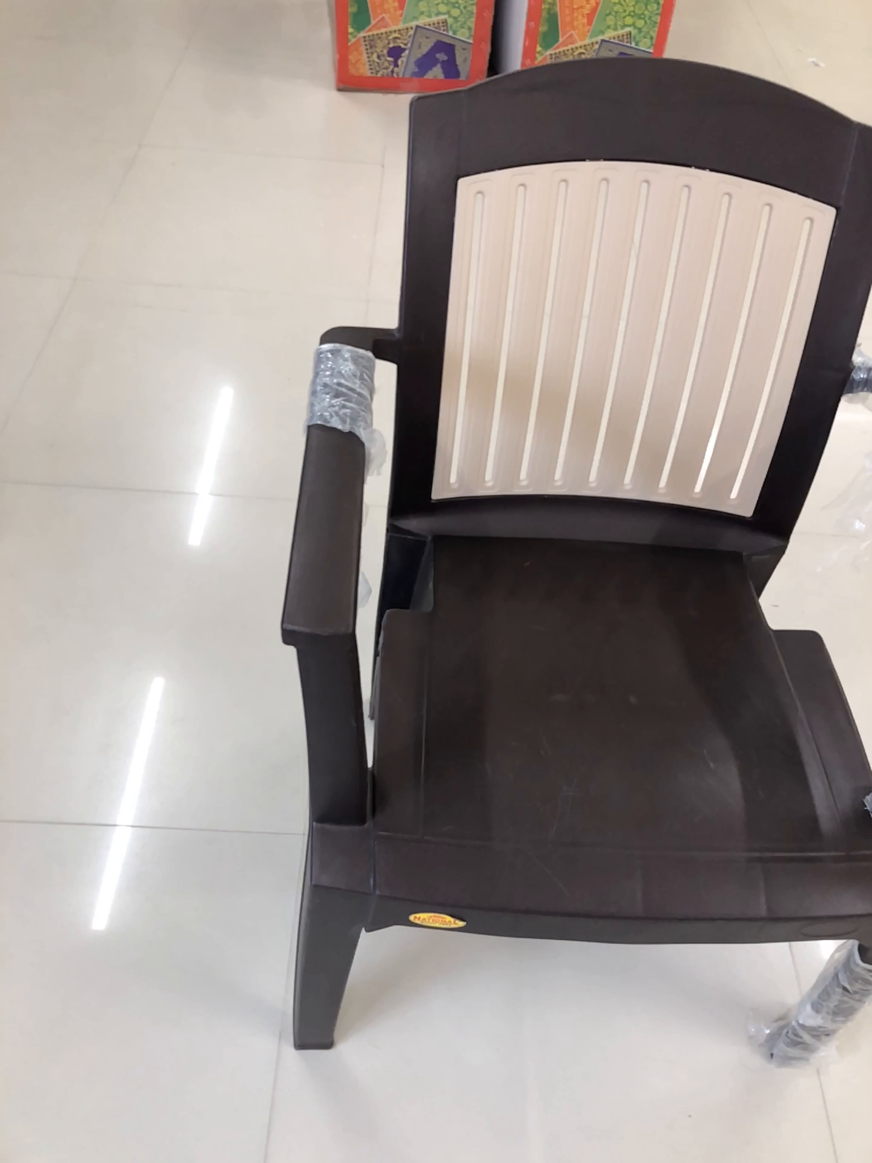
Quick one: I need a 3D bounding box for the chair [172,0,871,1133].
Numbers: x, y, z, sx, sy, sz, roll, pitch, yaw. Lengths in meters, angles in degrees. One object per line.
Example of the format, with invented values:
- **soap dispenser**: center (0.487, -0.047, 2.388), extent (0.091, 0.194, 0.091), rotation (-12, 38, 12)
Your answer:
- **chair**: center (0.177, -0.021, 0.751), extent (0.600, 0.556, 0.654), rotation (0, 48, -6)
